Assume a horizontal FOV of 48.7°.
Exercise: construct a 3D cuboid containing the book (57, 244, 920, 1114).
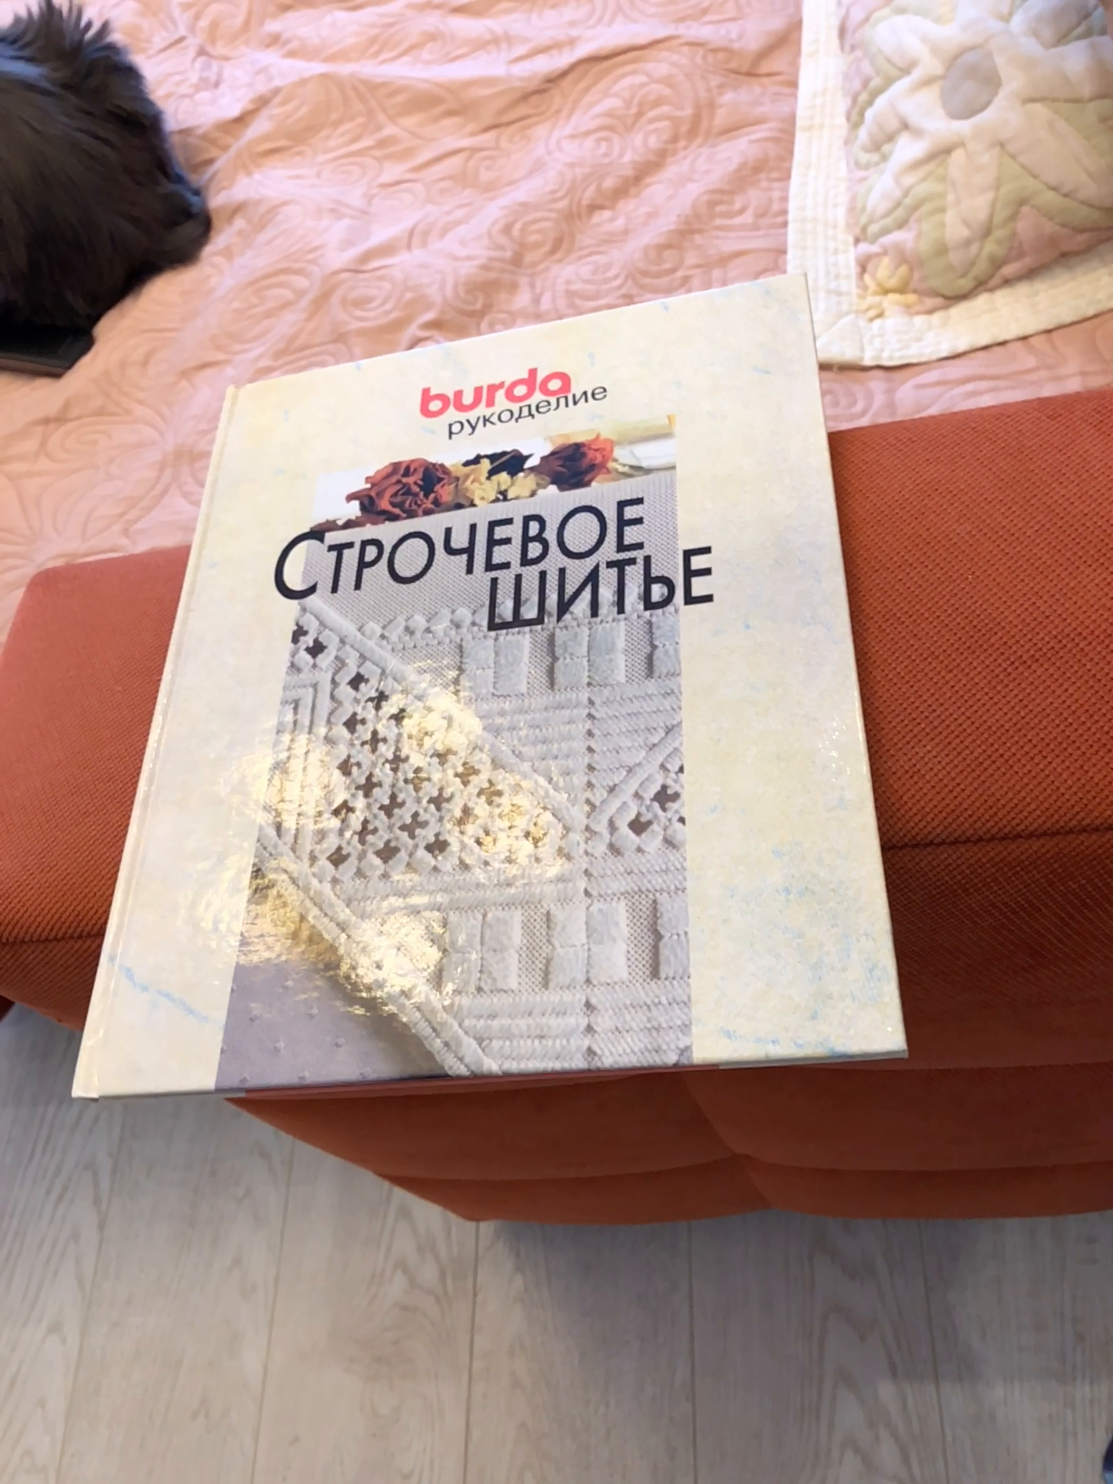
[{"bbox_3d":[-0.021,-0.029,0.363,0.215,0.020,0.259,-7,60,14],"label":"book"}]
